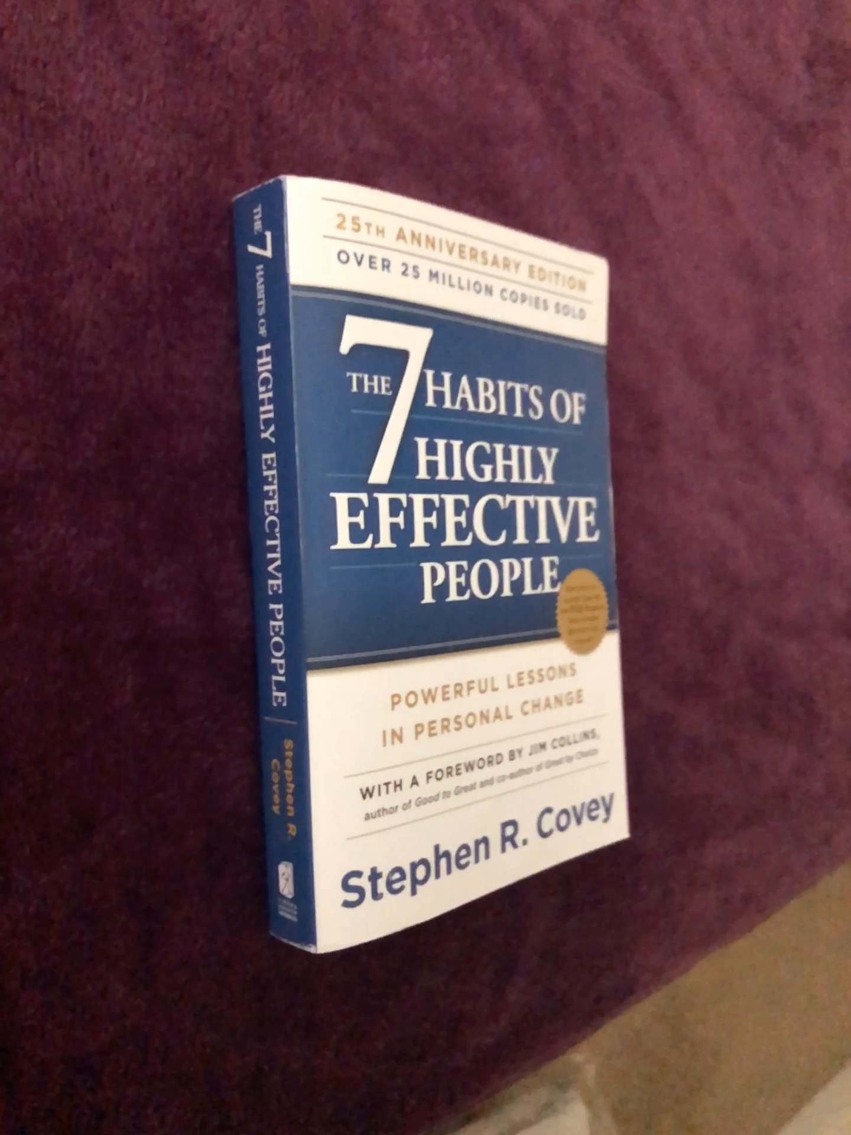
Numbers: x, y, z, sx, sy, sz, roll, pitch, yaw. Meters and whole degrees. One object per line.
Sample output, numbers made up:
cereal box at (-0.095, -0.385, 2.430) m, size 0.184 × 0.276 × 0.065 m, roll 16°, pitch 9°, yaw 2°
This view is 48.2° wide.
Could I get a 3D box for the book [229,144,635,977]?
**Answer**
book at (0.011, -0.003, 0.309) m, size 0.147 × 0.028 × 0.217 m, roll -2°, pitch 91°, yaw -43°
